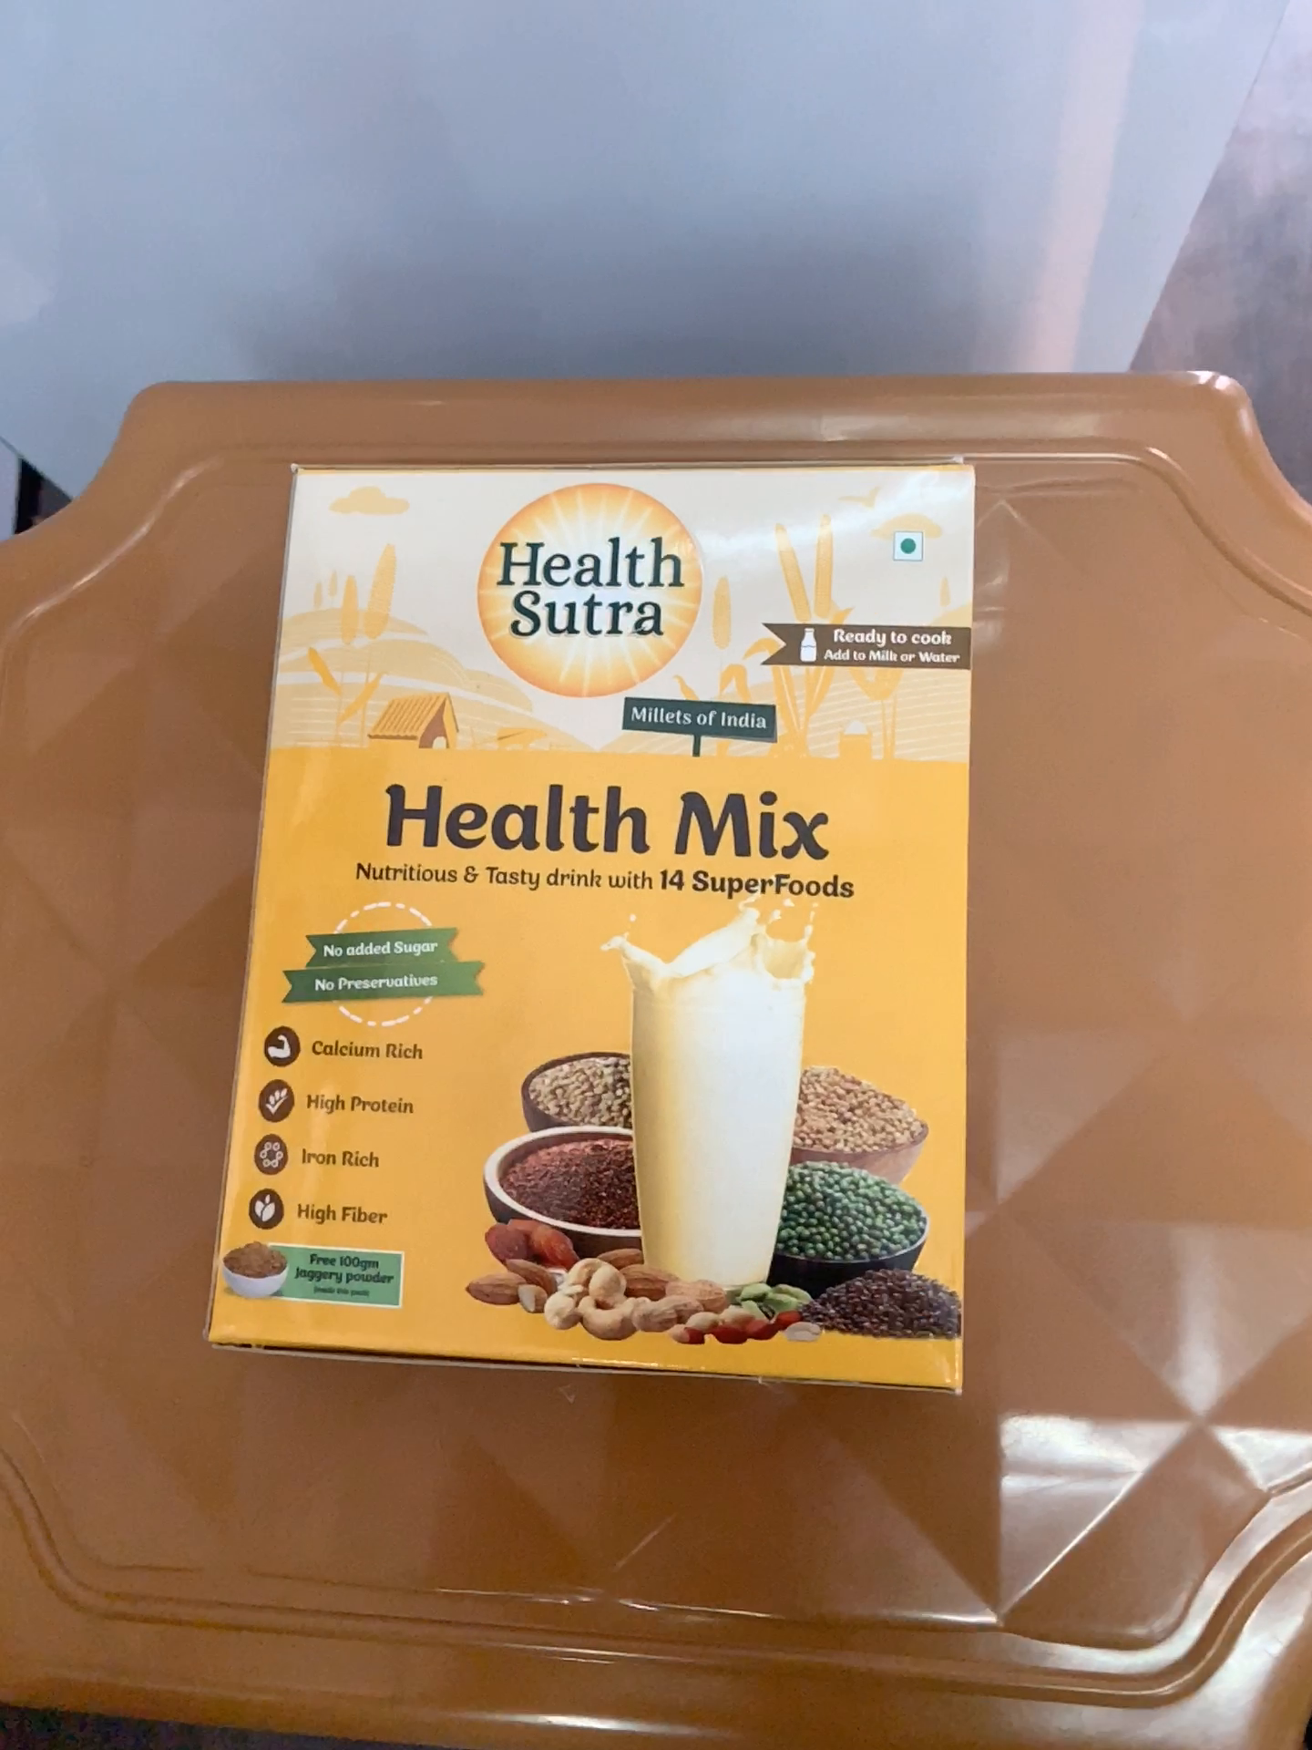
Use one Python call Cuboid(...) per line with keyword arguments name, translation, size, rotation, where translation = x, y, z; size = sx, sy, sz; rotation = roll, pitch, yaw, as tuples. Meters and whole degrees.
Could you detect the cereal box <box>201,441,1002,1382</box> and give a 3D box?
Cuboid(name="cereal box", translation=(-0.006, 0.003, 0.253), size=(0.130, 0.040, 0.160), rotation=(1, 80, 5))
